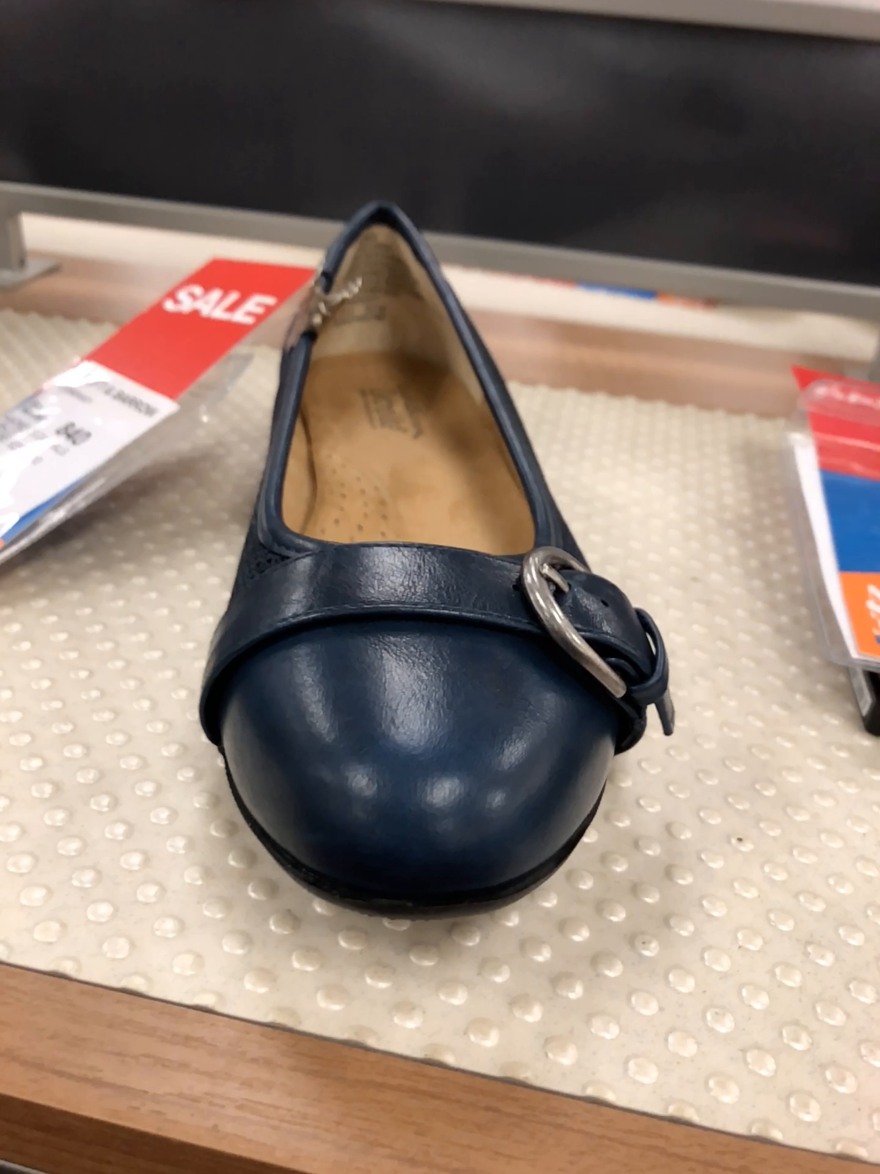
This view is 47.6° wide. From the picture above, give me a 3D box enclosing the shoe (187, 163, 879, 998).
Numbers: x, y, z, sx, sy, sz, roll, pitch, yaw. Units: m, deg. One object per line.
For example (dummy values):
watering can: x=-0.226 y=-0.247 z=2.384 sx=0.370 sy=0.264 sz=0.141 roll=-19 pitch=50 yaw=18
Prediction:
shoe: x=-0.006 y=-0.043 z=0.260 sx=0.088 sy=0.081 sz=0.280 roll=0 pitch=31 yaw=-8
